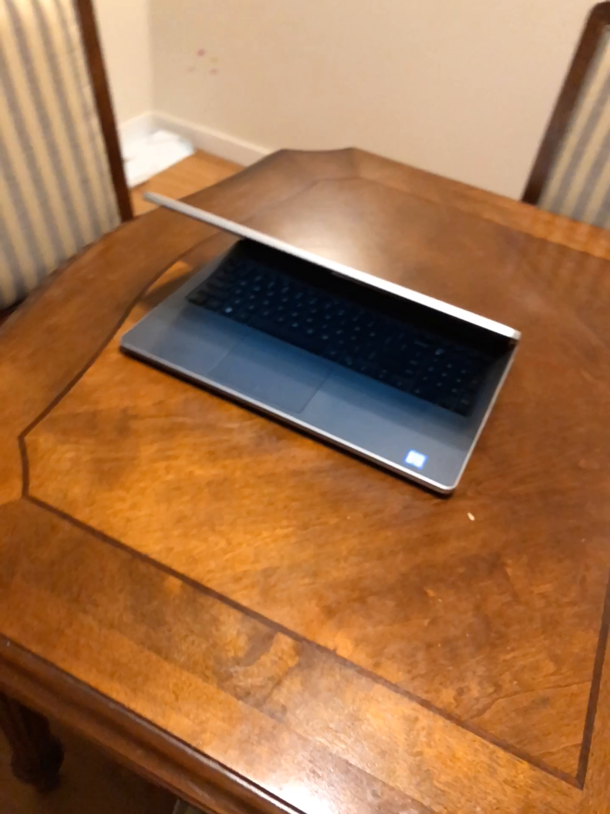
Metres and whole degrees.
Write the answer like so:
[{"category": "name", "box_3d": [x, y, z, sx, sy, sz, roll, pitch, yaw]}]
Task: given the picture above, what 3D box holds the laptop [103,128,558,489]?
[{"category": "laptop", "box_3d": [0.028, -0.121, 0.686, 0.364, 0.147, 0.246, 24, 46, 15]}]
